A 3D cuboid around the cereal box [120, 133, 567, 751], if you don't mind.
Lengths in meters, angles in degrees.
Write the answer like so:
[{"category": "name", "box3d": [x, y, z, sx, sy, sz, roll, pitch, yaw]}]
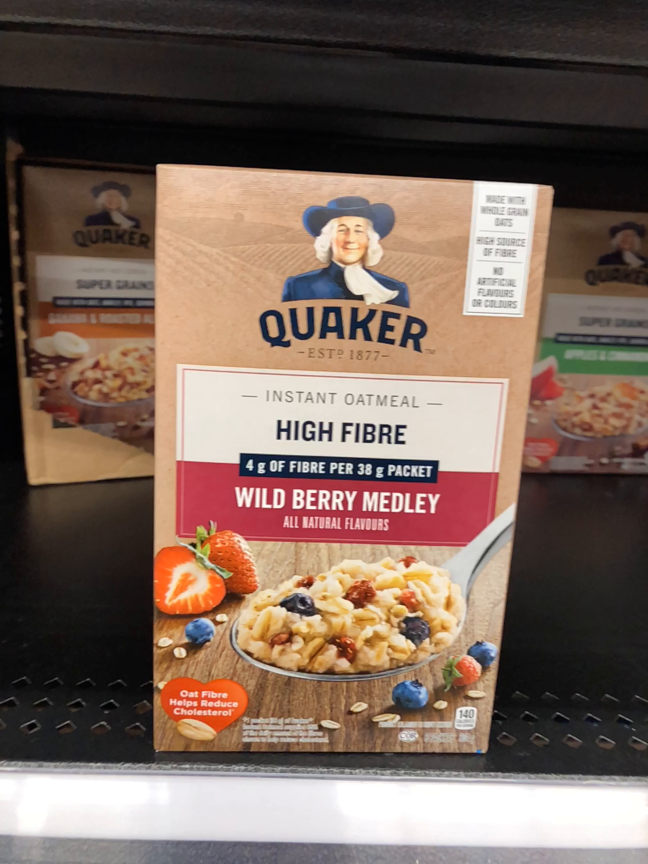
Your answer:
[{"category": "cereal box", "box3d": [0.000, 0.007, 0.261, 0.130, 0.199, 0.060, 2, 13, -3]}]
